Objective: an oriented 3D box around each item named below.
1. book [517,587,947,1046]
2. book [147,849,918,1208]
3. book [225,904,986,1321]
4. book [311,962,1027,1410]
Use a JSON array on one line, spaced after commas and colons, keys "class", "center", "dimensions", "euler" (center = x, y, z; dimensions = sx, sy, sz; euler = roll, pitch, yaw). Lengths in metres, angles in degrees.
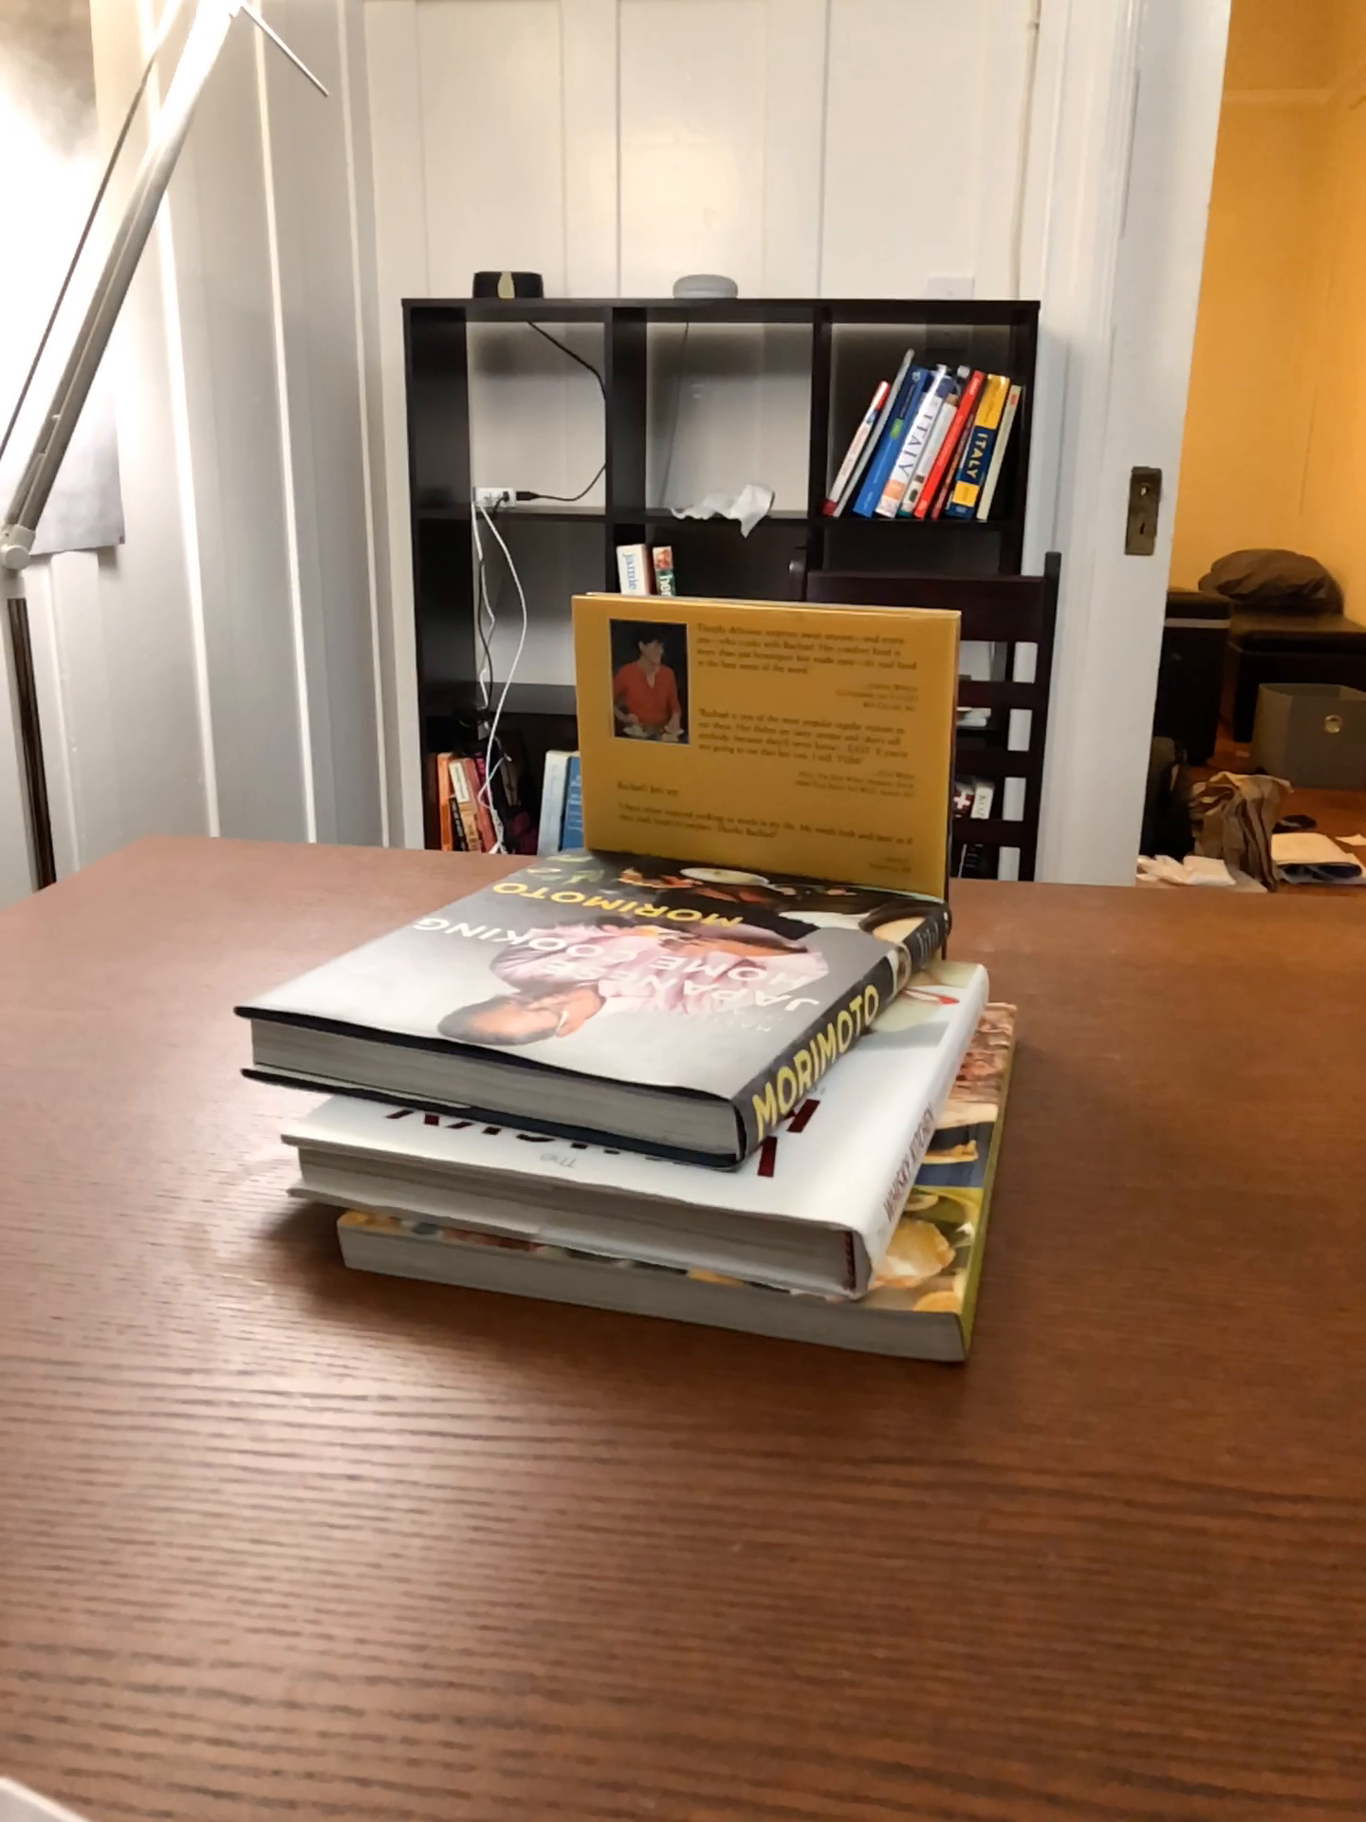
[{"class": "book", "center": [0.022, -0.050, 0.748], "dimensions": [0.210, 0.209, 0.030], "euler": [7, 20, 24]}, {"class": "book", "center": [-0.042, 0.031, 0.639], "dimensions": [0.220, 0.030, 0.281], "euler": [8, 18, 21]}, {"class": "book", "center": [-0.006, 0.059, 0.601], "dimensions": [0.220, 0.030, 0.281], "euler": [6, 17, 16]}, {"class": "book", "center": [0.019, 0.088, 0.603], "dimensions": [0.220, 0.030, 0.281], "euler": [5, 17, 14]}]
